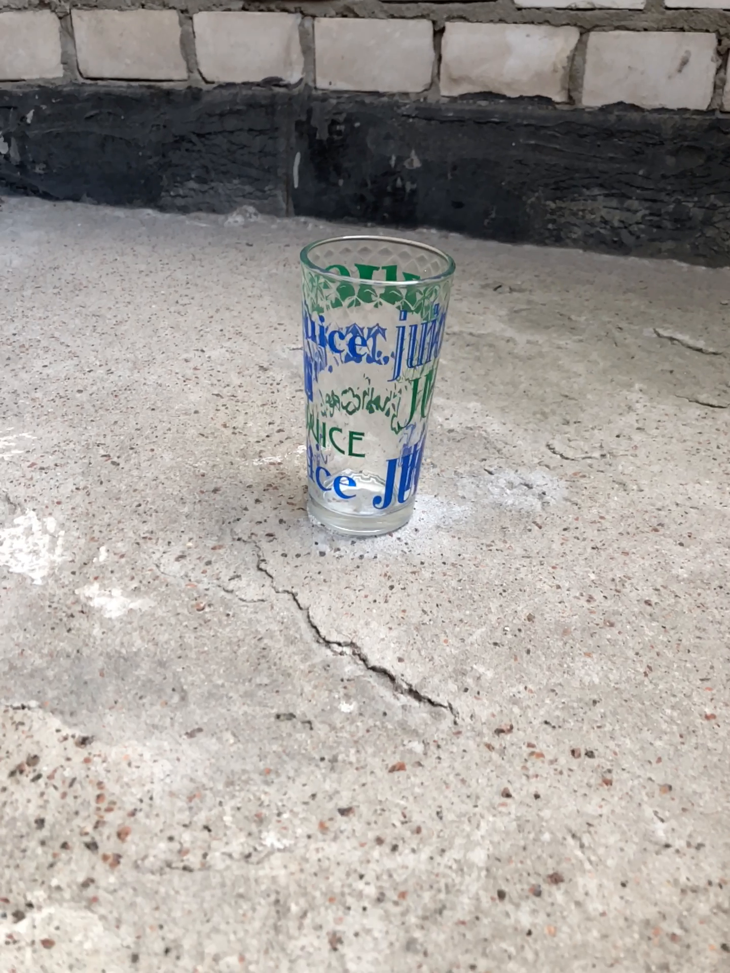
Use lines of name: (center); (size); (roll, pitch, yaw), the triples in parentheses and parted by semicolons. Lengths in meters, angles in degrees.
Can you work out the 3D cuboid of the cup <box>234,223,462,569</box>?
cup: (-0.009, -0.042, 0.359); (0.067, 0.125, 0.066); (2, 31, -1)
